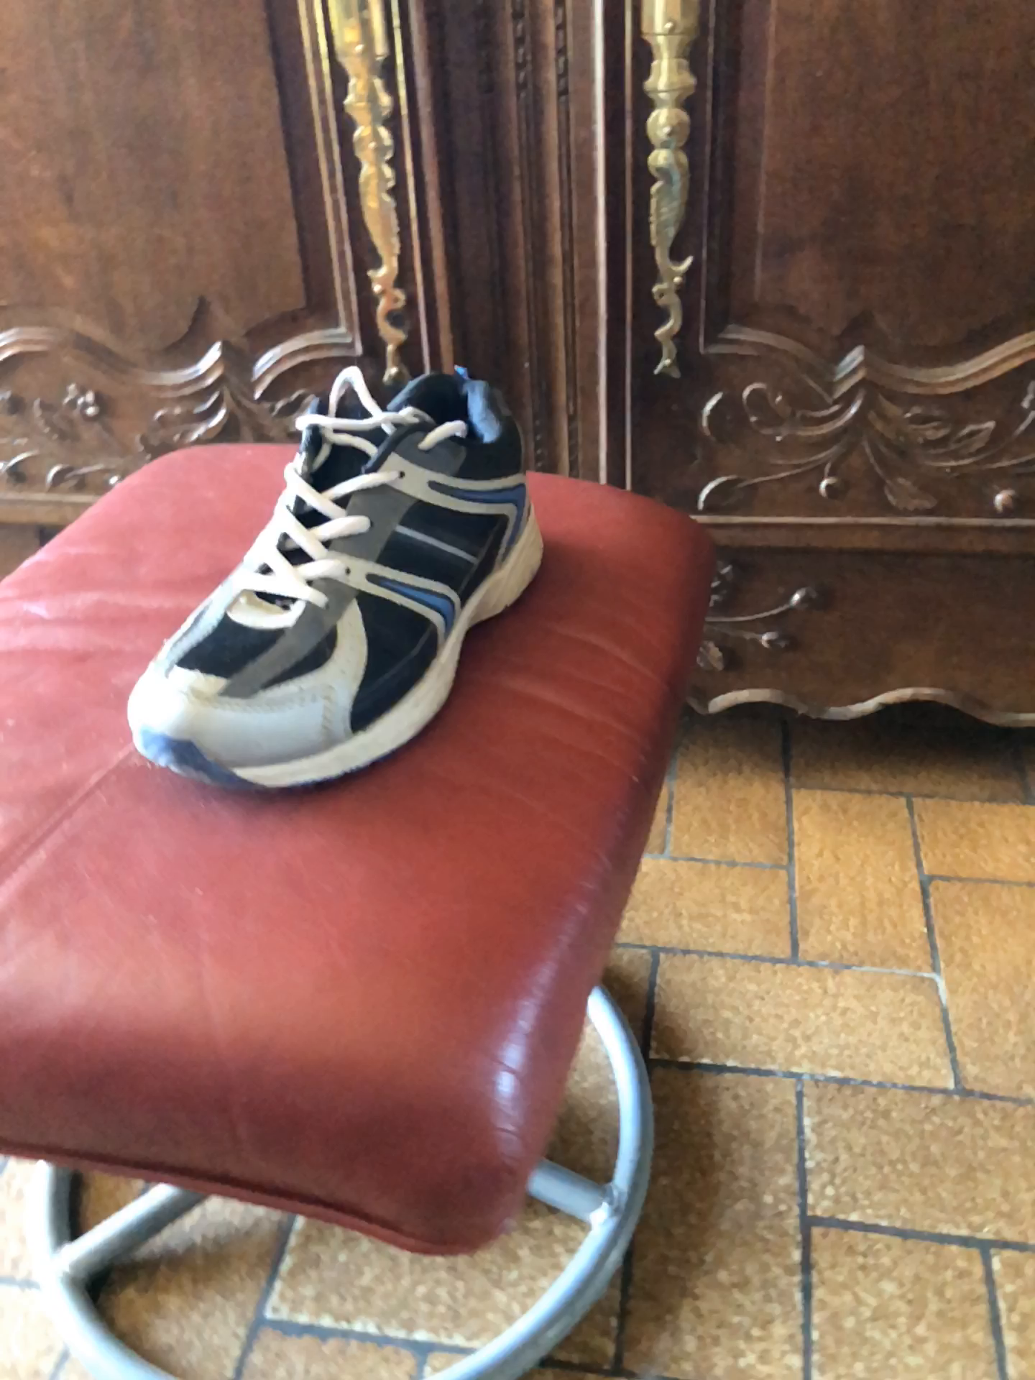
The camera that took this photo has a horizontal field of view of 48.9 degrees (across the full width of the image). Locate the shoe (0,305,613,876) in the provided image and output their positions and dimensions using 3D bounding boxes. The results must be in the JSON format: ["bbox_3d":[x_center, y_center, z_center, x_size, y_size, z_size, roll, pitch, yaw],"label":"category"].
[{"bbox_3d":[-0.064,-0.063,0.486,0.110,0.119,0.262,14,38,25],"label":"shoe"}]
